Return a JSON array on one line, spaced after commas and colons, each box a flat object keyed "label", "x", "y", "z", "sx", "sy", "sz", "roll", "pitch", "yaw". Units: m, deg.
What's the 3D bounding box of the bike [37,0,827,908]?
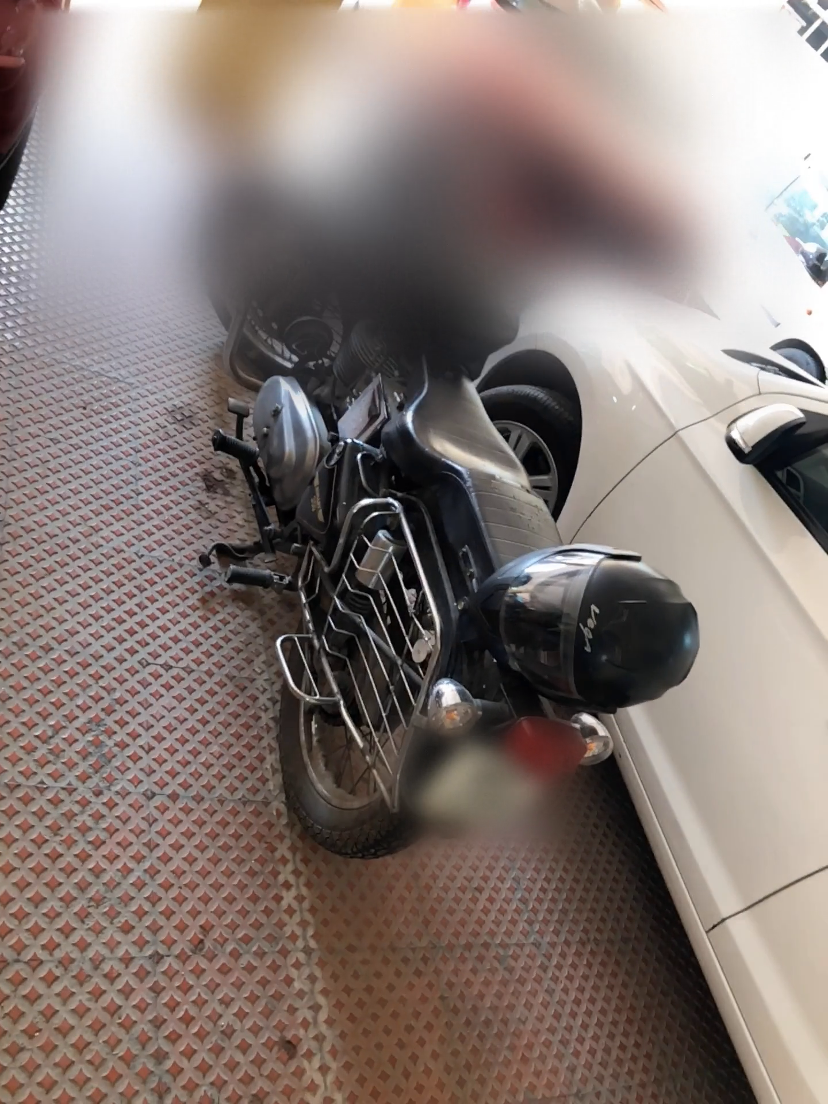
[{"label": "bike", "x": -0.170, "y": -0.383, "z": 1.954, "sx": 0.694, "sy": 1.217, "sz": 1.788, "roll": 10, "pitch": 49, "yaw": -39}]
